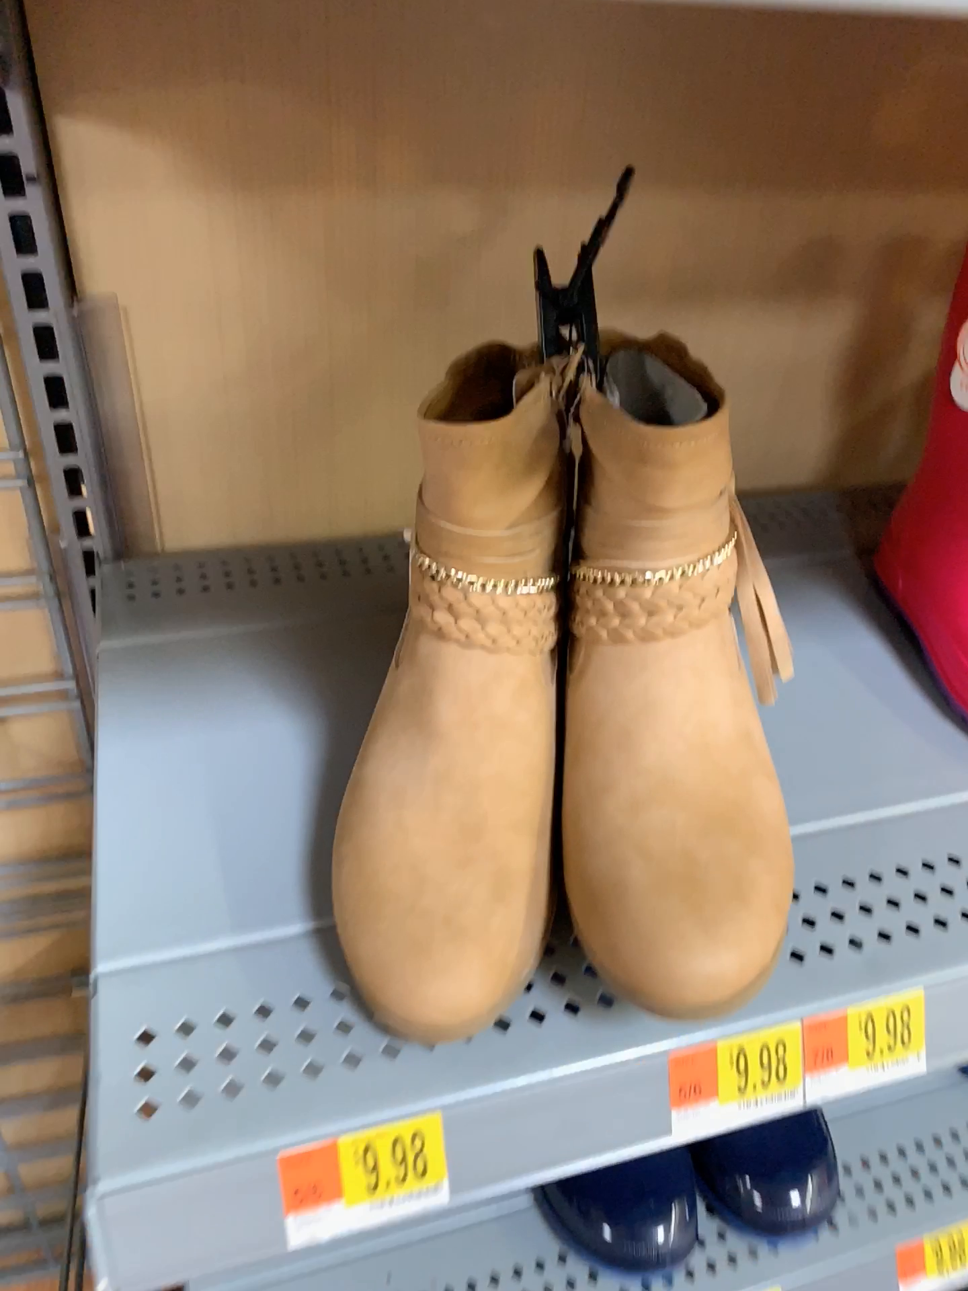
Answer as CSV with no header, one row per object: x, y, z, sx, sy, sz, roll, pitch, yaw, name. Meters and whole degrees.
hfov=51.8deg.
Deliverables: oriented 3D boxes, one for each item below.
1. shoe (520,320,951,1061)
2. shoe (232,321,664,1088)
0.063,-0.001,0.370,0.082,0.154,0.239,3,37,-2,shoe
0.002,0.004,0.357,0.088,0.162,0.218,9,37,7,shoe
